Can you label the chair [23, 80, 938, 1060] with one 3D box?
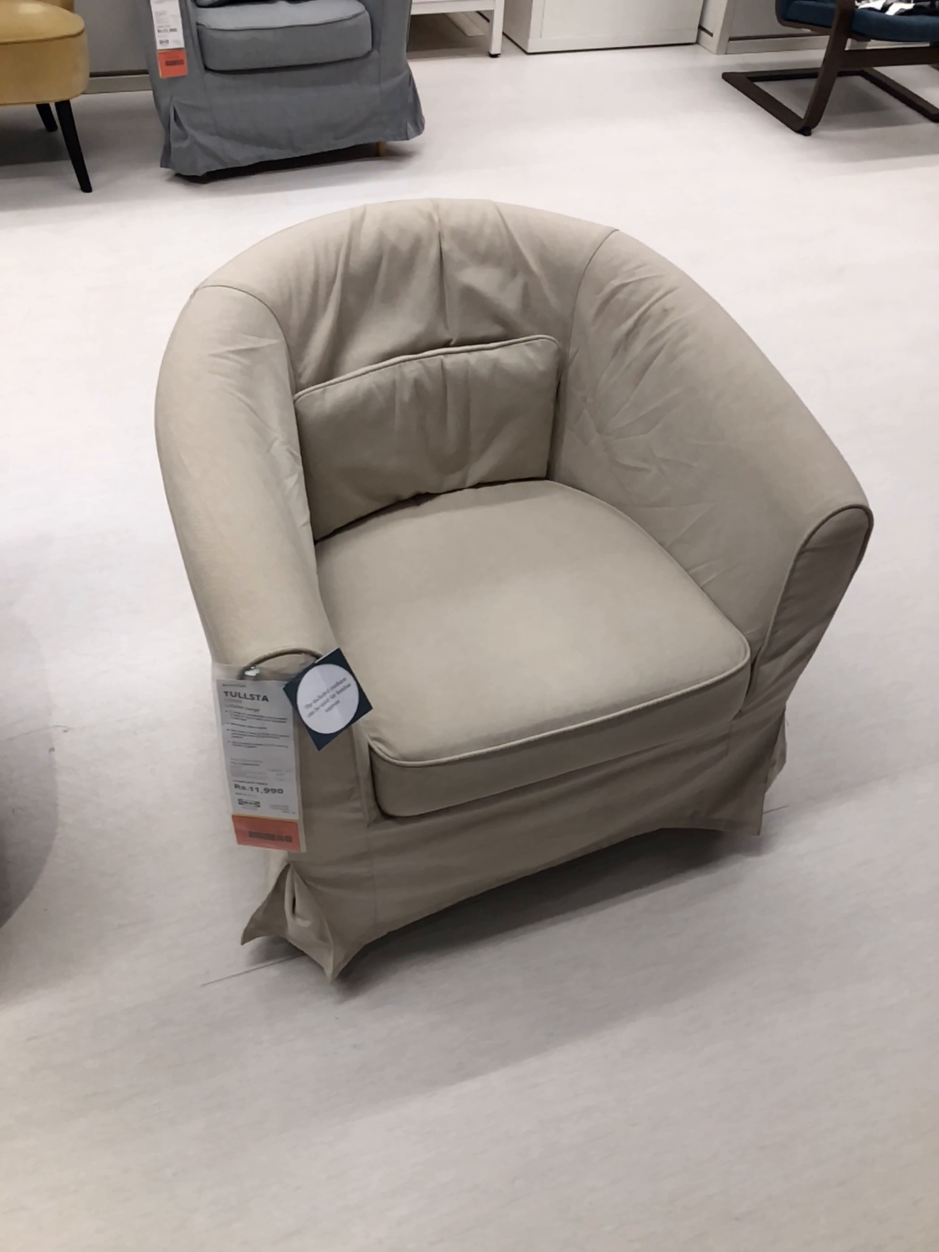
[{"bbox_3d":[0.032,-0.104,1.306,0.861,0.805,0.704,-15,49,-19],"label":"chair"}]
